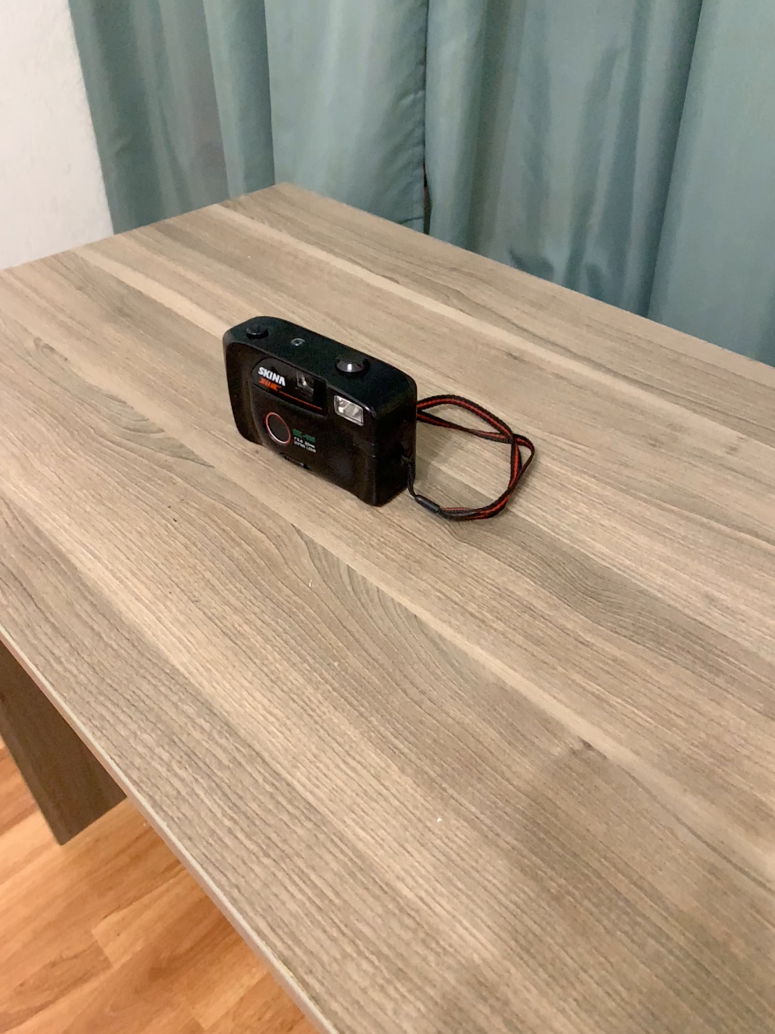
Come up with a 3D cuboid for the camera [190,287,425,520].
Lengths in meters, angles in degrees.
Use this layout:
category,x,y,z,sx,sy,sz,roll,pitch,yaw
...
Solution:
category,x,y,z,sx,sy,sz,roll,pitch,yaw
camera,-0.043,-0.062,0.419,0.120,0.069,0.045,30,47,29
